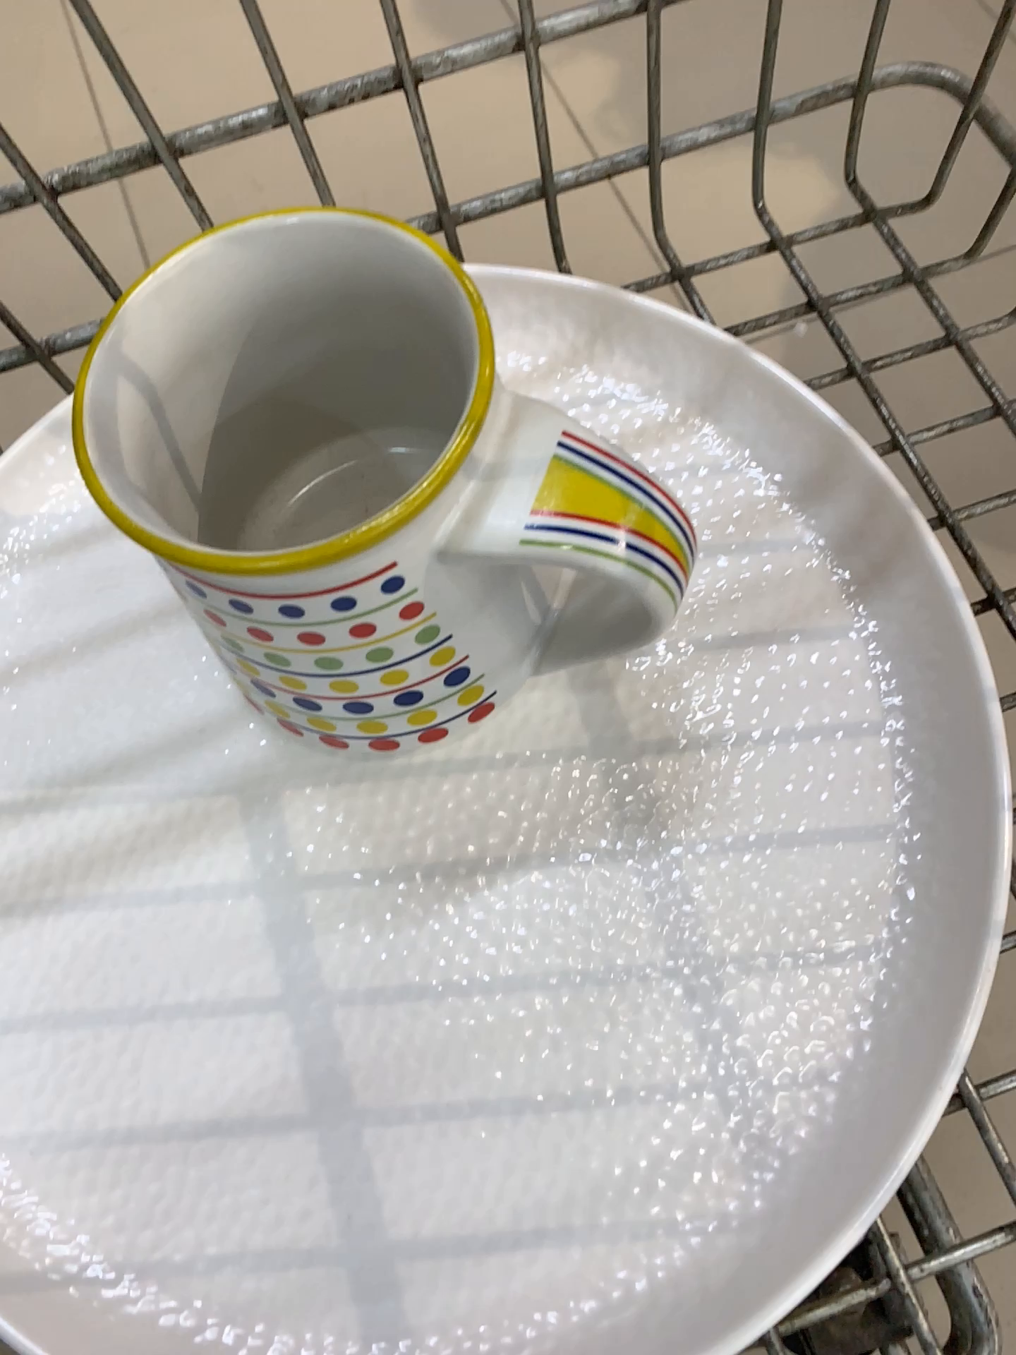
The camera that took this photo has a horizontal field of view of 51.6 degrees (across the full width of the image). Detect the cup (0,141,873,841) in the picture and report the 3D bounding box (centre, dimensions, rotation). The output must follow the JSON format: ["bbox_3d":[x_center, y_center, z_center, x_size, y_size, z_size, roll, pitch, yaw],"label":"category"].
[{"bbox_3d":[-0.010,-0.025,0.191,0.120,0.100,0.080,2,68,6],"label":"cup"}]
